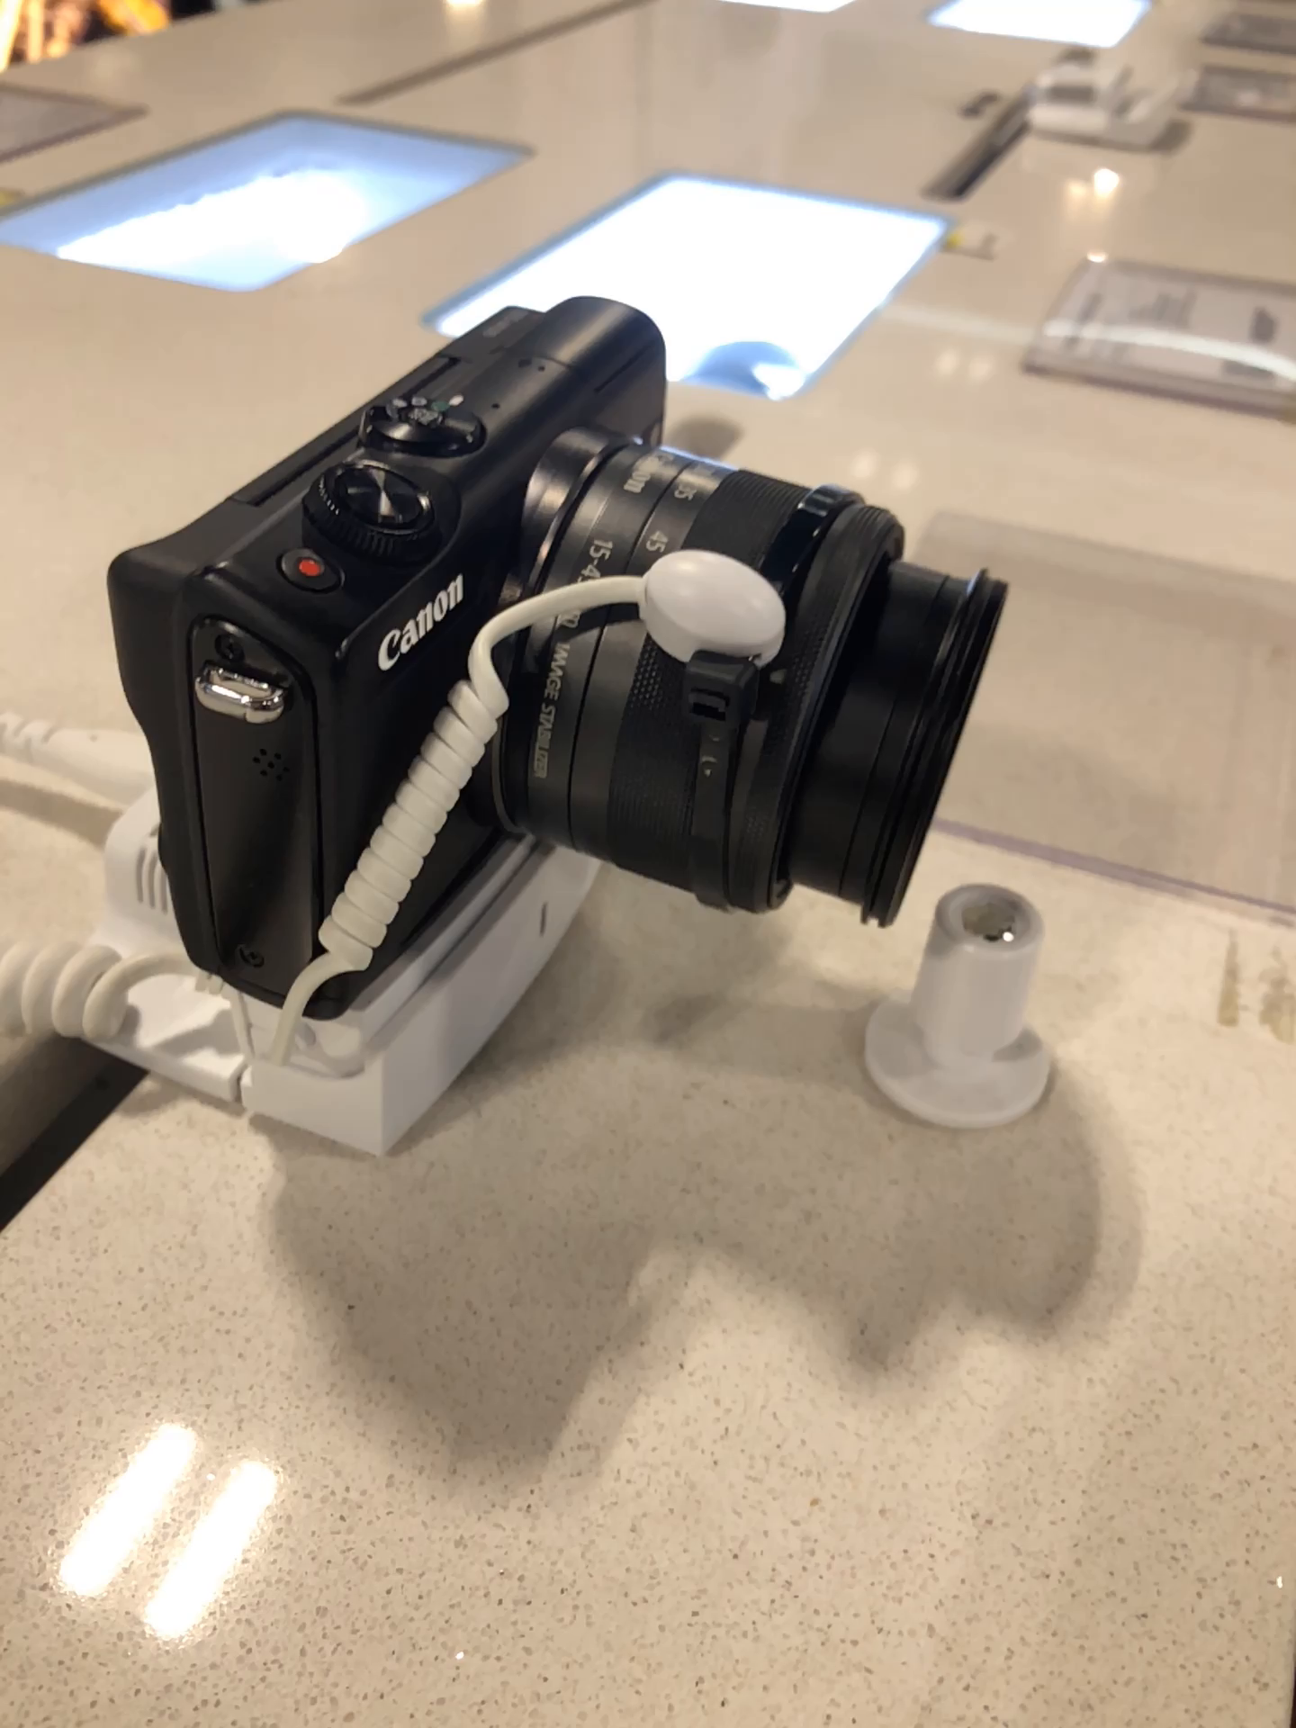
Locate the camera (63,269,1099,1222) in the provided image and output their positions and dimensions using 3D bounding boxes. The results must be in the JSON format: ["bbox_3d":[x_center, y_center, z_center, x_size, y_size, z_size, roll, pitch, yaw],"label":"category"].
[{"bbox_3d":[0.001,-0.029,0.205,0.090,0.060,0.121,17,41,16],"label":"camera"}]
